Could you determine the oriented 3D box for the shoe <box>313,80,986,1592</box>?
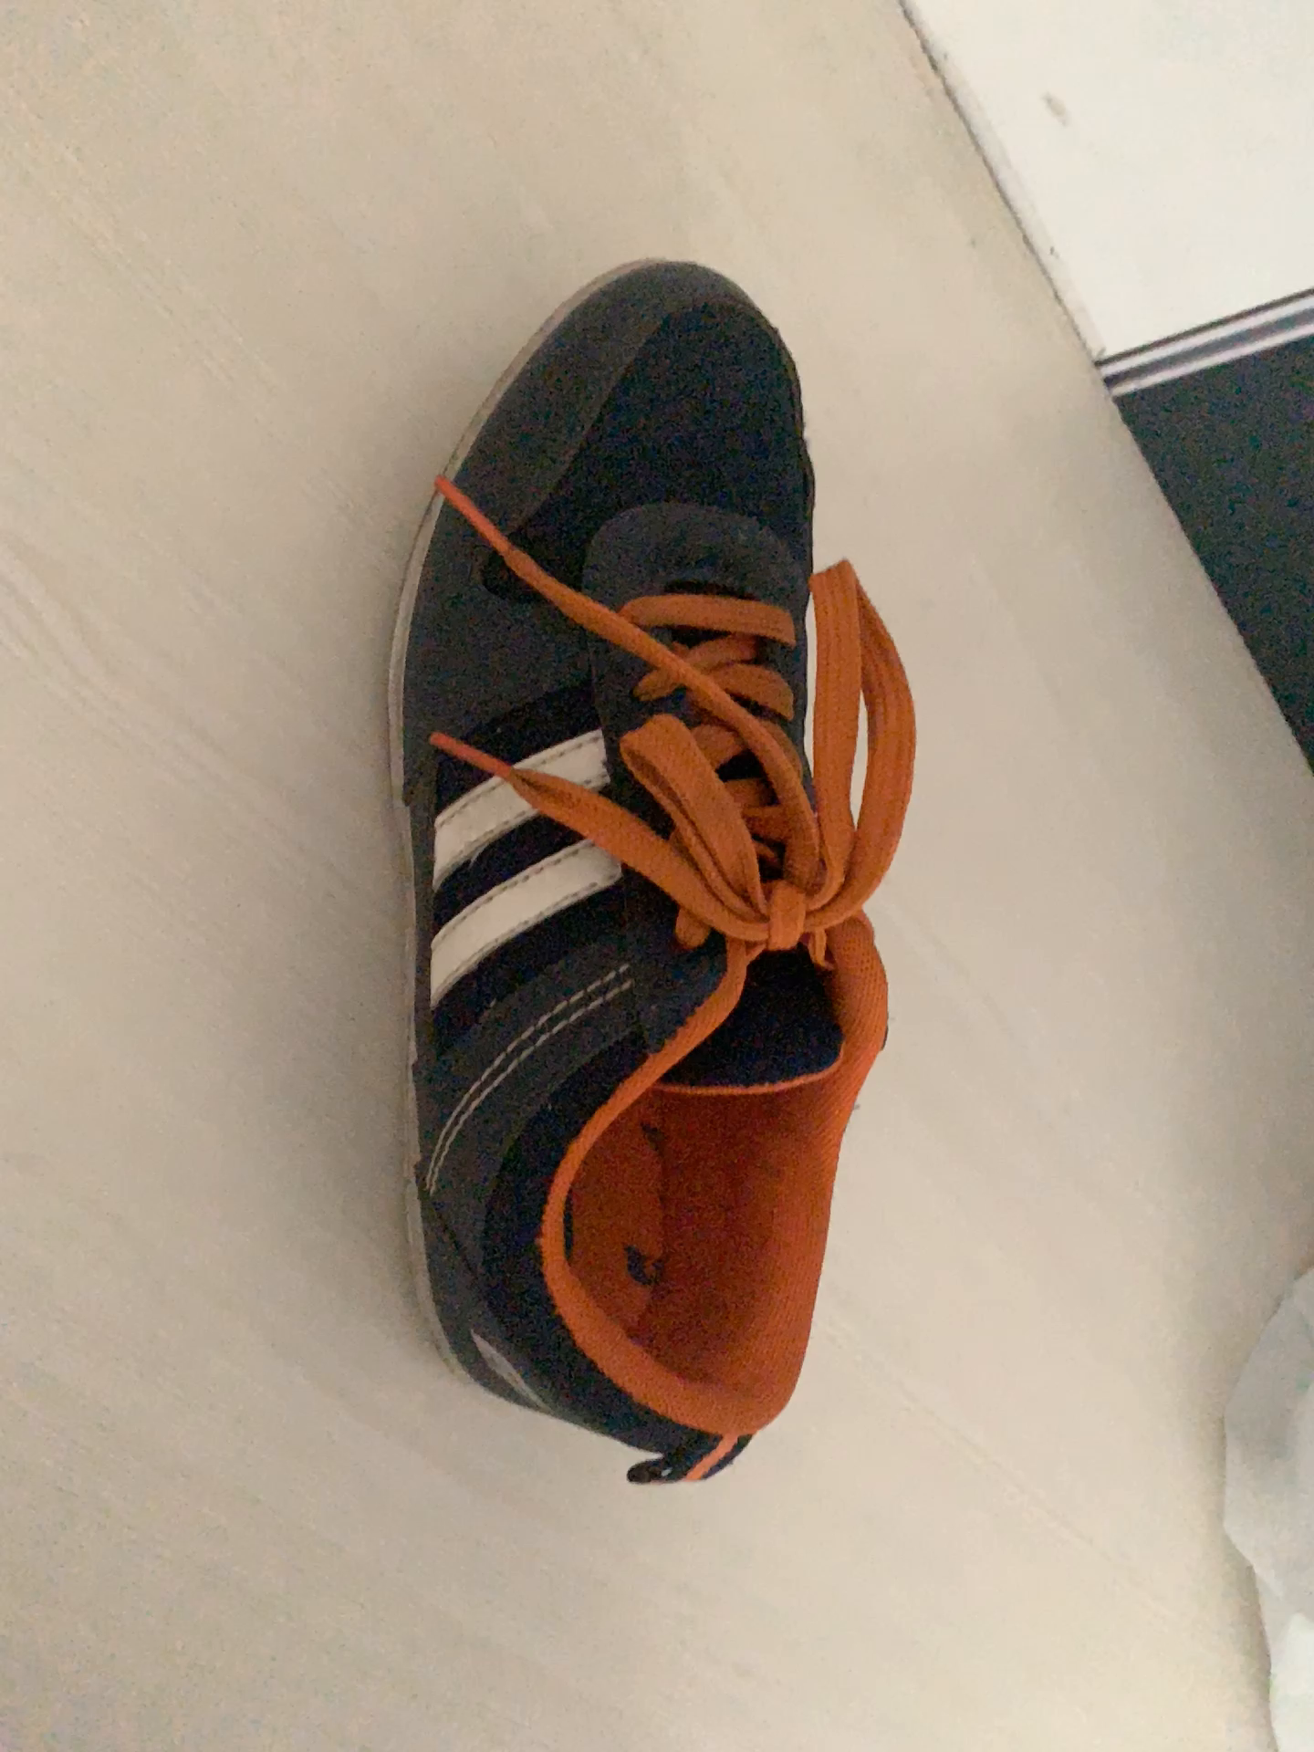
[{"bbox_3d":[0.000,-0.006,0.285,0.100,0.080,0.250,6,86,-38],"label":"shoe"}]
